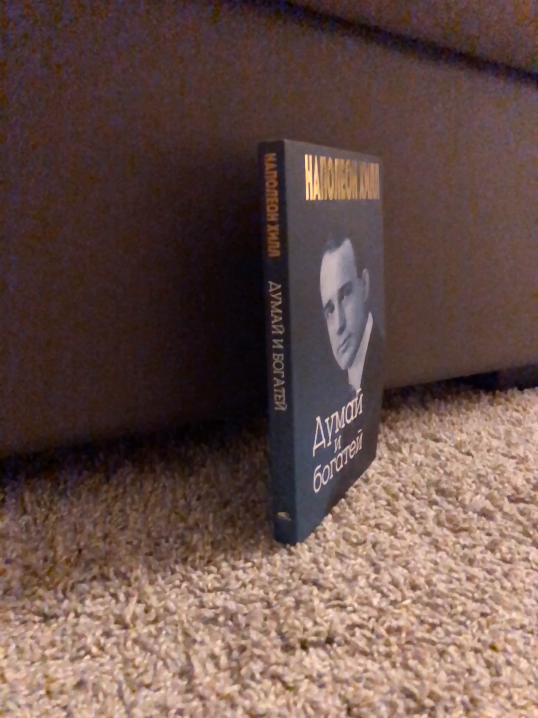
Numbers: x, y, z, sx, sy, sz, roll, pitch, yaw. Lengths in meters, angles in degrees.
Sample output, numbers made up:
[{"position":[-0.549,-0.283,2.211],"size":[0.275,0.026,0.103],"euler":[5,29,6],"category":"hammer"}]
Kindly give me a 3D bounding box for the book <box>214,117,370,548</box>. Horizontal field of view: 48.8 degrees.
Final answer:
[{"position":[0.021,-0.019,0.334],"size":[0.030,0.198,0.132],"euler":[4,13,27],"category":"book"}]
